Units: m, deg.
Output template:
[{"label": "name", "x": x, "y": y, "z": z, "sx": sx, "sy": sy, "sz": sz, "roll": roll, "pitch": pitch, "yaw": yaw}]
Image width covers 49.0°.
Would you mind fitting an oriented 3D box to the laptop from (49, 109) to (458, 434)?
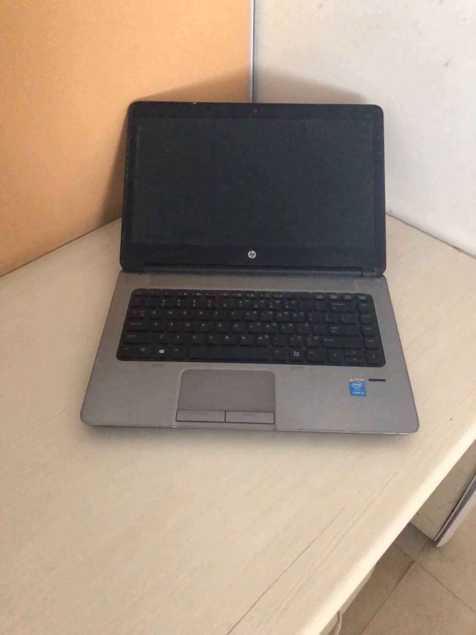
[{"label": "laptop", "x": 0.020, "y": -0.082, "z": 0.582, "sx": 0.316, "sy": 0.125, "sz": 0.393, "roll": 1, "pitch": 46, "yaw": 2}]
